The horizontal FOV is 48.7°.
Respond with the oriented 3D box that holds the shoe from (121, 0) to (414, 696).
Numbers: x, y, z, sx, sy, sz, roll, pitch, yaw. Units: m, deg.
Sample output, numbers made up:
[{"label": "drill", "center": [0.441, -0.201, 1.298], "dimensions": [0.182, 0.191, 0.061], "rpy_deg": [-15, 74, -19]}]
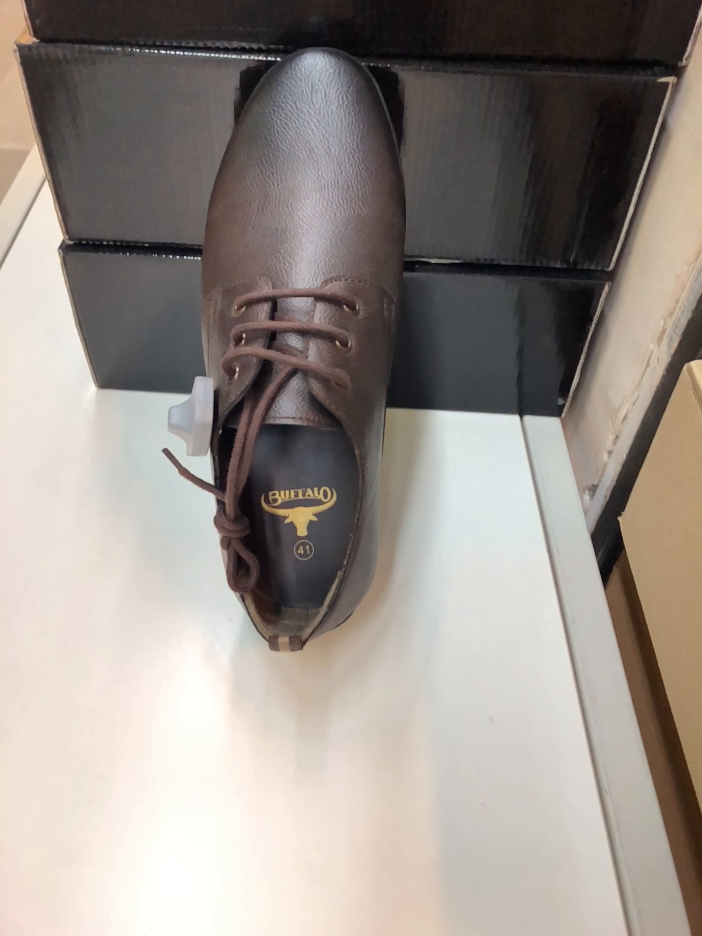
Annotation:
[{"label": "shoe", "center": [-0.029, -0.051, 0.358], "dimensions": [0.111, 0.271, 0.116], "rpy_deg": [1, 2, 6]}]
